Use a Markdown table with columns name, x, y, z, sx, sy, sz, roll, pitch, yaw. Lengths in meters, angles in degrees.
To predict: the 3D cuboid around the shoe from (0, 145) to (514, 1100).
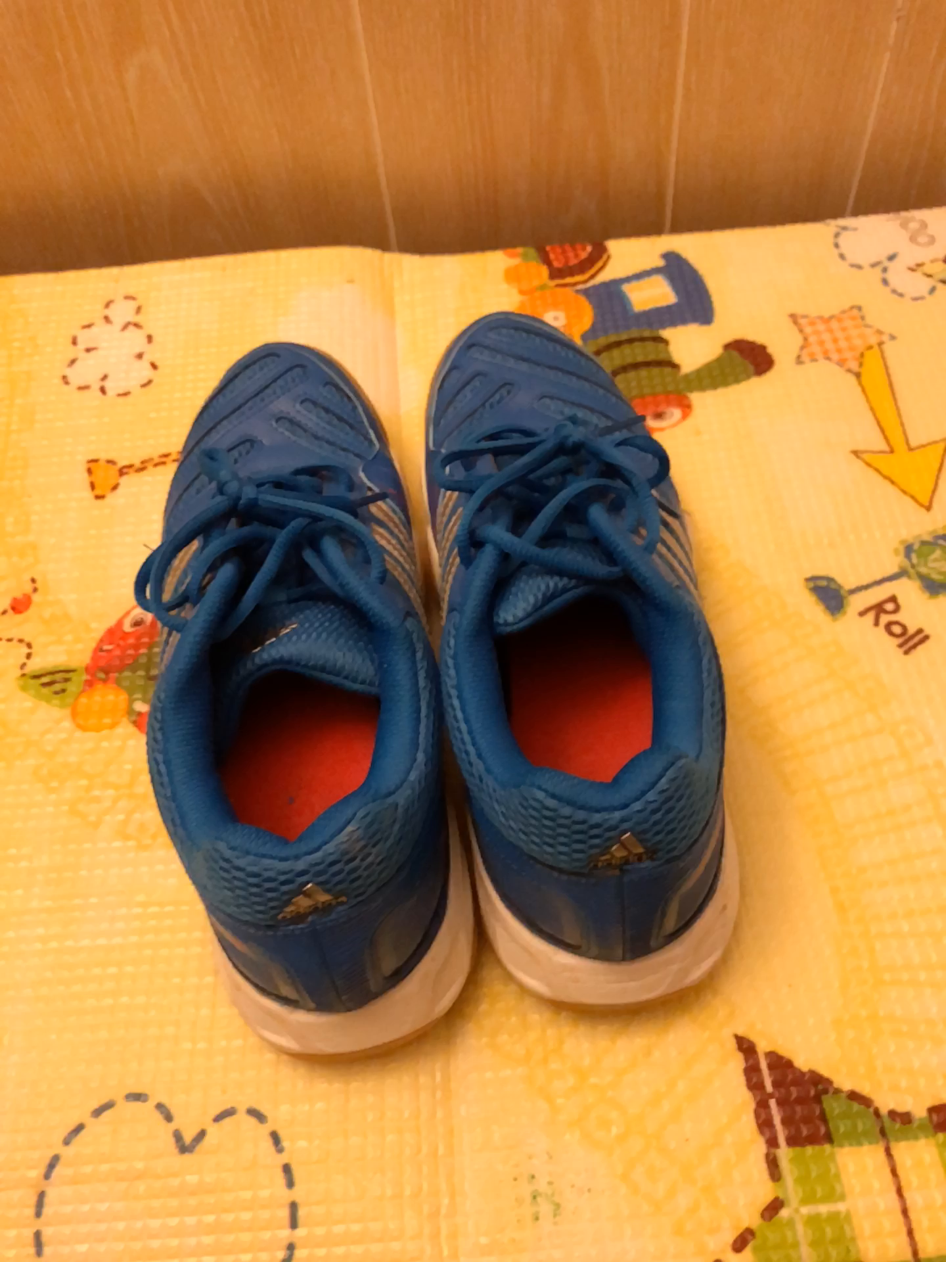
| name | x | y | z | sx | sy | sz | roll | pitch | yaw |
| --- | --- | --- | --- | --- | --- | --- | --- | --- | --- |
| shoe | -0.064 | -0.014 | 0.363 | 0.110 | 0.139 | 0.291 | -8 | 56 | -1 |

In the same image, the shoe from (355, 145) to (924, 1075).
| name | x | y | z | sx | sy | sz | roll | pitch | yaw |
| --- | --- | --- | --- | --- | --- | --- | --- | --- | --- |
| shoe | 0.031 | -0.022 | 0.359 | 0.110 | 0.119 | 0.291 | -8 | 56 | 0 |
